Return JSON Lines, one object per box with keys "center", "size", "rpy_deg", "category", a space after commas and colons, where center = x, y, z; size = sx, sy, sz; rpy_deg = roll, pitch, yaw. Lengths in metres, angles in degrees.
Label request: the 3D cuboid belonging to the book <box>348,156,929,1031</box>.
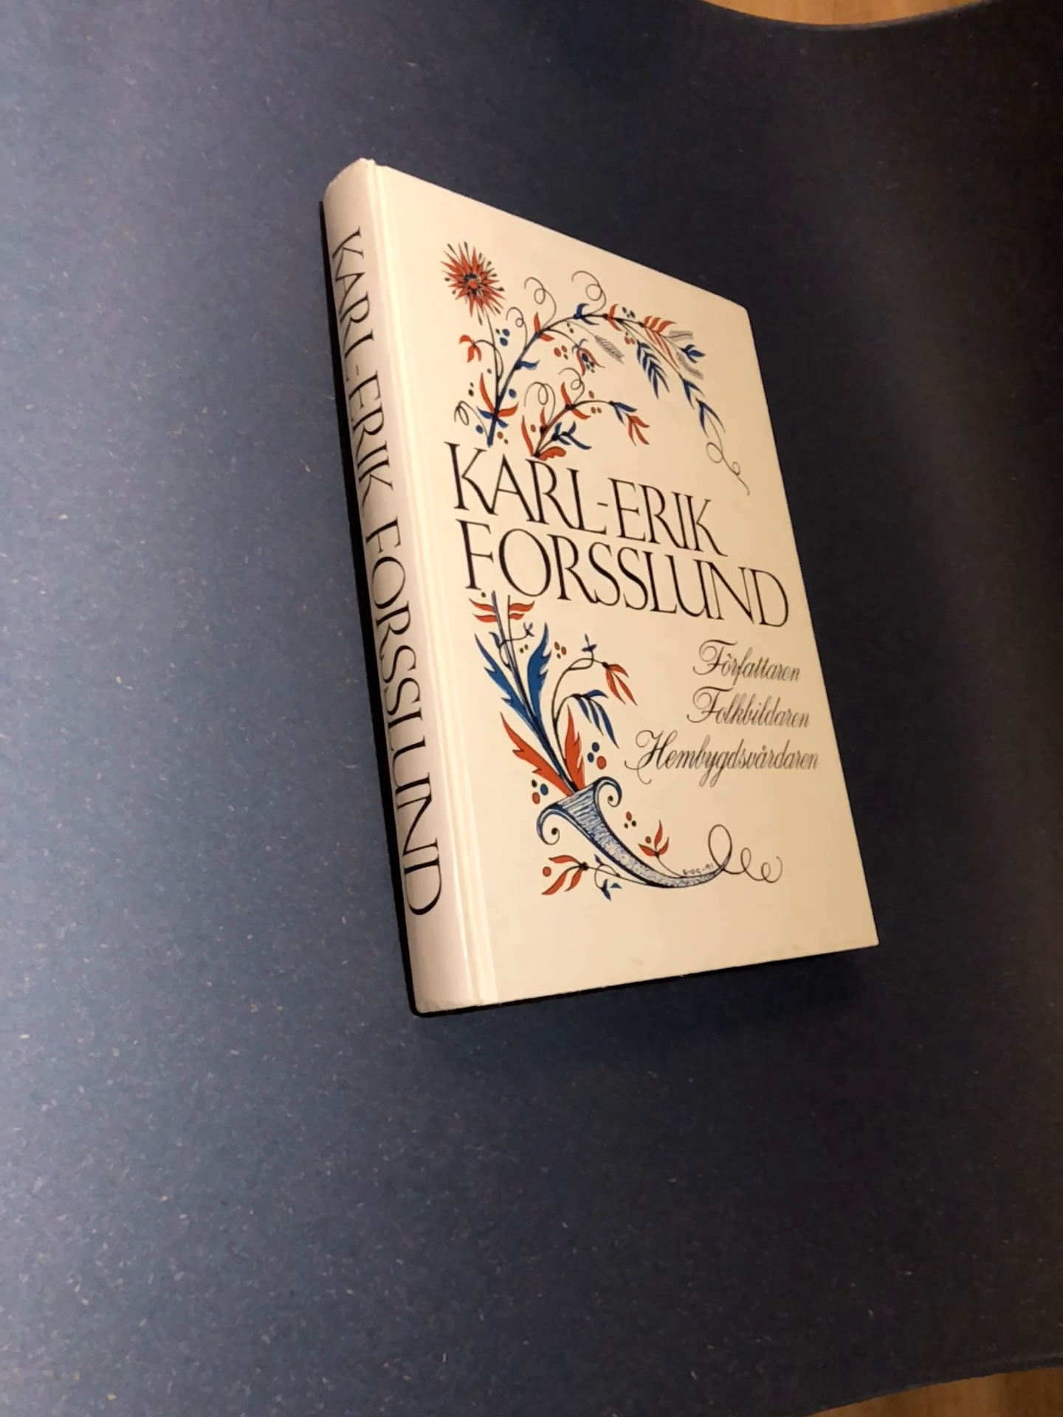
{"center": [0.036, -0.033, 0.359], "size": [0.164, 0.028, 0.232], "rpy_deg": [3, 72, -39], "category": "book"}
